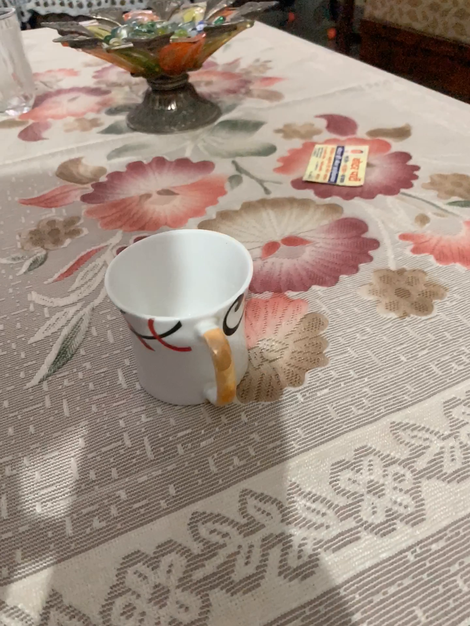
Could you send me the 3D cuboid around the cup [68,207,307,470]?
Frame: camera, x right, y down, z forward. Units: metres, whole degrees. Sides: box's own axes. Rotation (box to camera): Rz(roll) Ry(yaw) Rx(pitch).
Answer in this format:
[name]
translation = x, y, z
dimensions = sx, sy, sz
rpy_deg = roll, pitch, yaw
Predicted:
[cup]
translation = -0.023, 0.006, 0.226
dimensions = 0.070, 0.060, 0.090
rpy_deg = -22, 44, -19
